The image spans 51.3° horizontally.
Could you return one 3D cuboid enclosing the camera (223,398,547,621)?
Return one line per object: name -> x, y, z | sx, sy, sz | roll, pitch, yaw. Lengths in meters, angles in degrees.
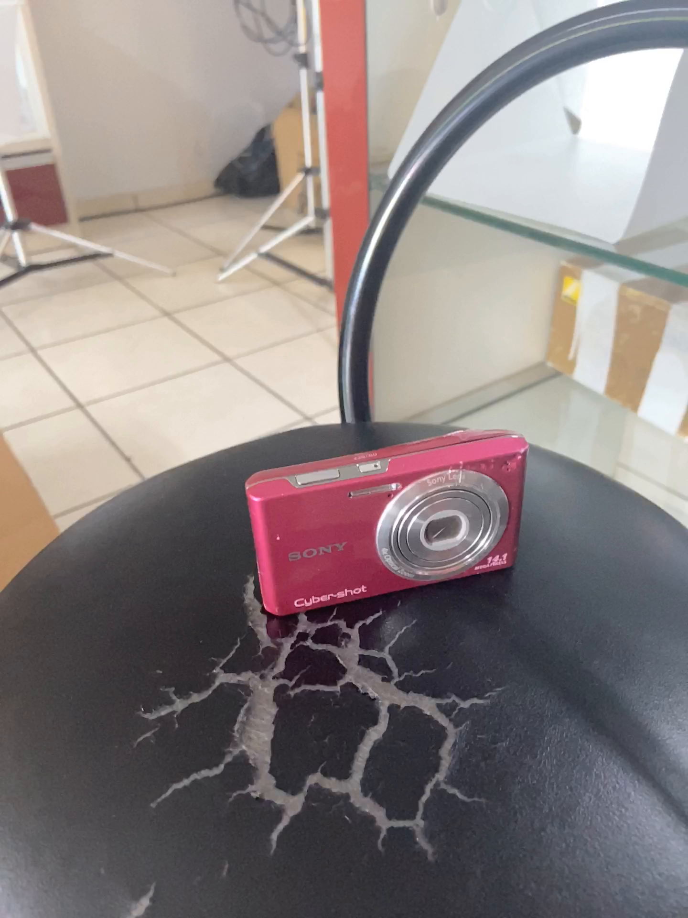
camera -> 0.014, 0.016, 0.245 | 0.100, 0.050, 0.030 | -10, 34, -8
